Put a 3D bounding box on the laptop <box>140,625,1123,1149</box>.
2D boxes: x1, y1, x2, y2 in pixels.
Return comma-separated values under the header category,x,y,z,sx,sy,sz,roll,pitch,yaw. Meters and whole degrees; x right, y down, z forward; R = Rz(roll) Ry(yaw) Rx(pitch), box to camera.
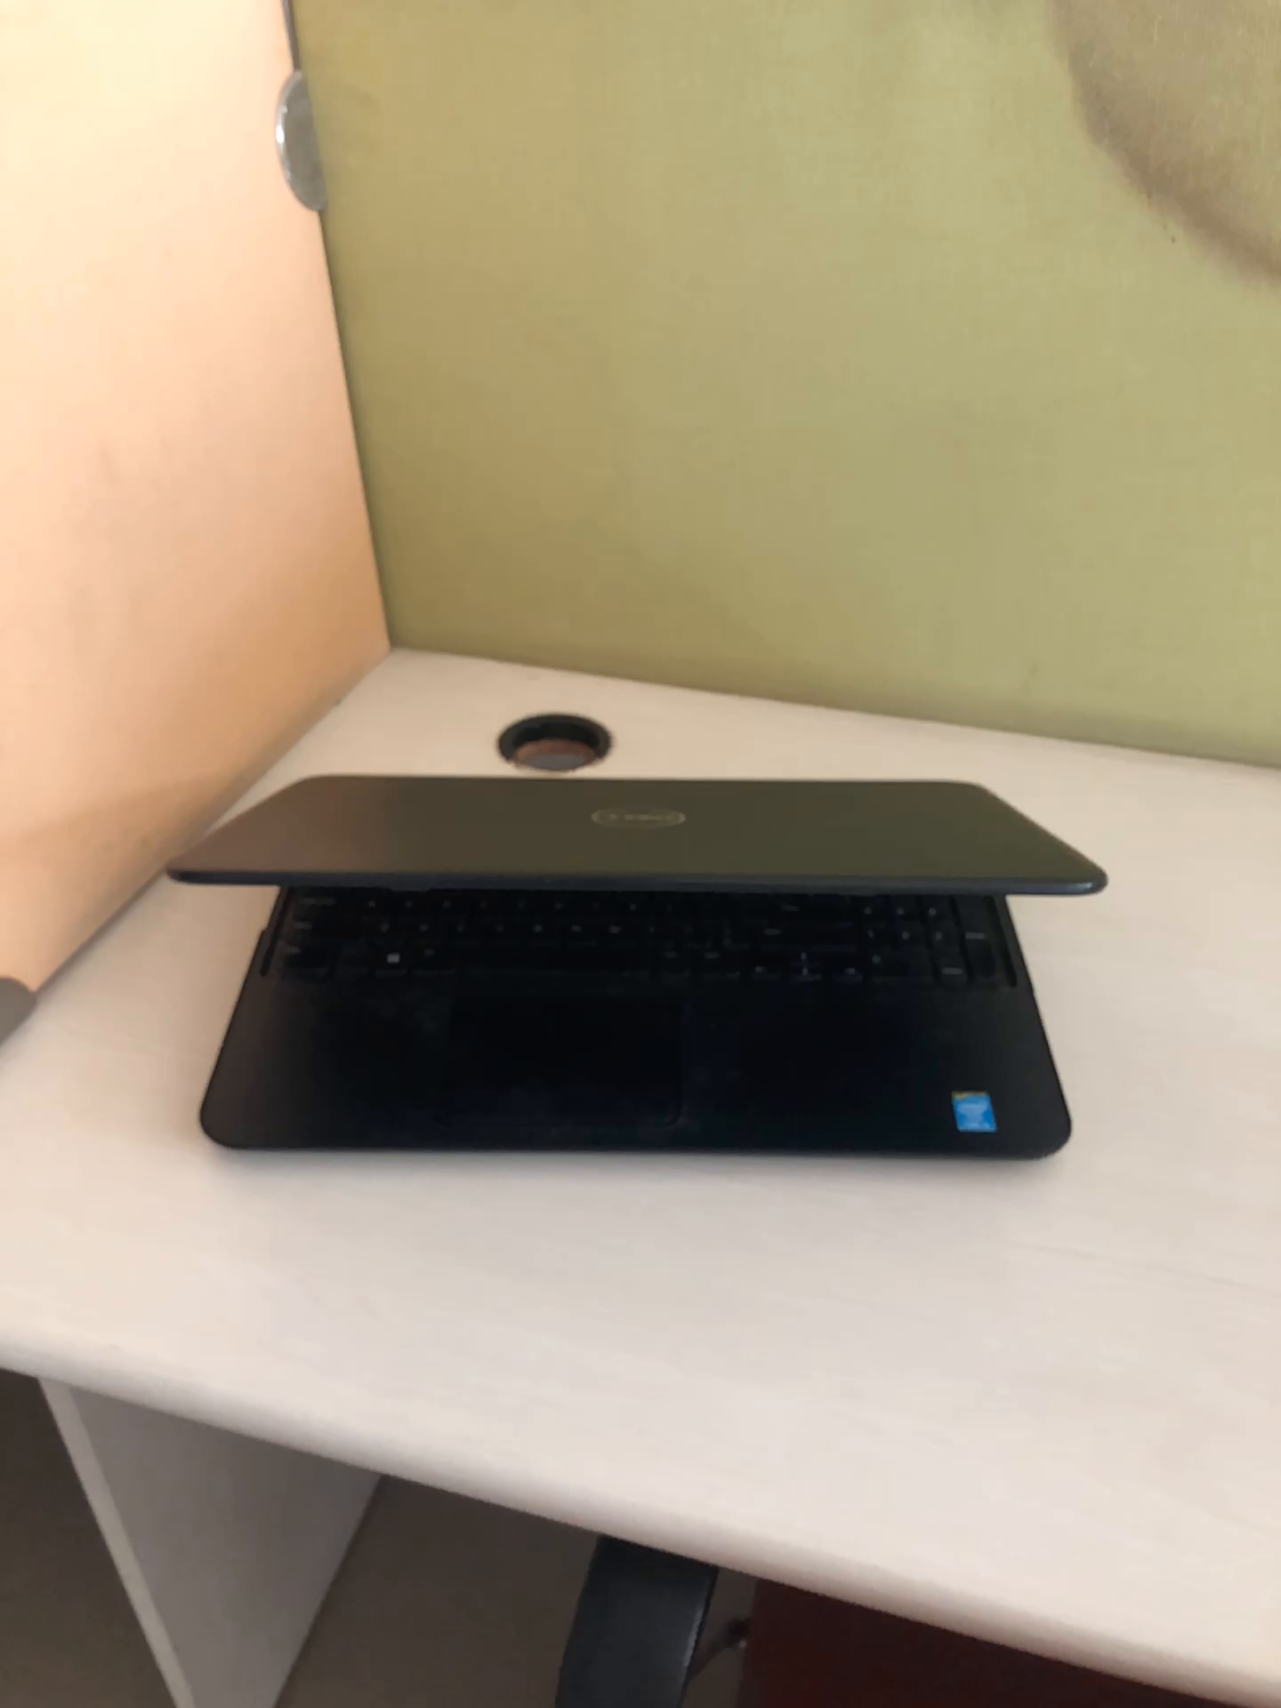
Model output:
category,x,y,z,sx,sy,sz,roll,pitch,yaw
laptop,-0.002,0.003,0.659,0.366,0.106,0.248,0,37,1
